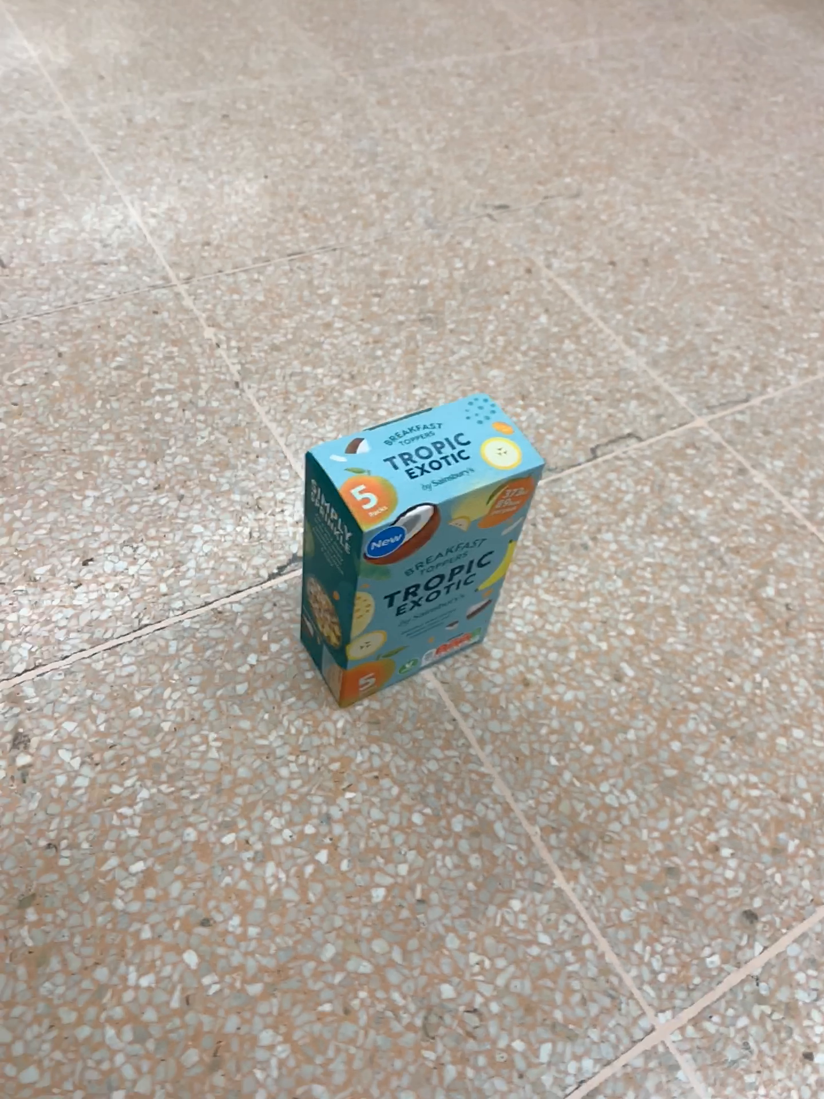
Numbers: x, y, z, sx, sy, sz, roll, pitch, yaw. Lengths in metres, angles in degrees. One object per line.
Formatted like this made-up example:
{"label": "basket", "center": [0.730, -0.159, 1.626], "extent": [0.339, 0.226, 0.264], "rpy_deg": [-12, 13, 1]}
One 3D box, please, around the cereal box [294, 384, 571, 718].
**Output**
{"label": "cereal box", "center": [0.002, 0.005, 0.439], "extent": [0.110, 0.149, 0.060], "rpy_deg": [-22, 58, -23]}
